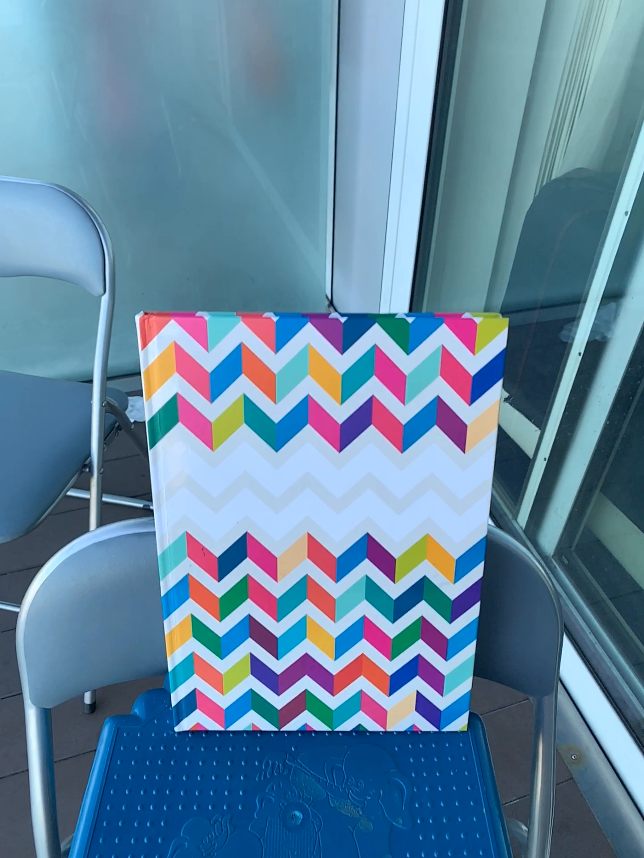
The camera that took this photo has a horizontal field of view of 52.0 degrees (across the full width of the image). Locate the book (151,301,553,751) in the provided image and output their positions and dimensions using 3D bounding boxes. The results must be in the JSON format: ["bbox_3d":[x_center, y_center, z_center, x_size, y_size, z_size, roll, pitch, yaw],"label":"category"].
[{"bbox_3d":[0.013,0.071,0.408,0.211,0.289,0.030,1,19,1],"label":"book"}]
